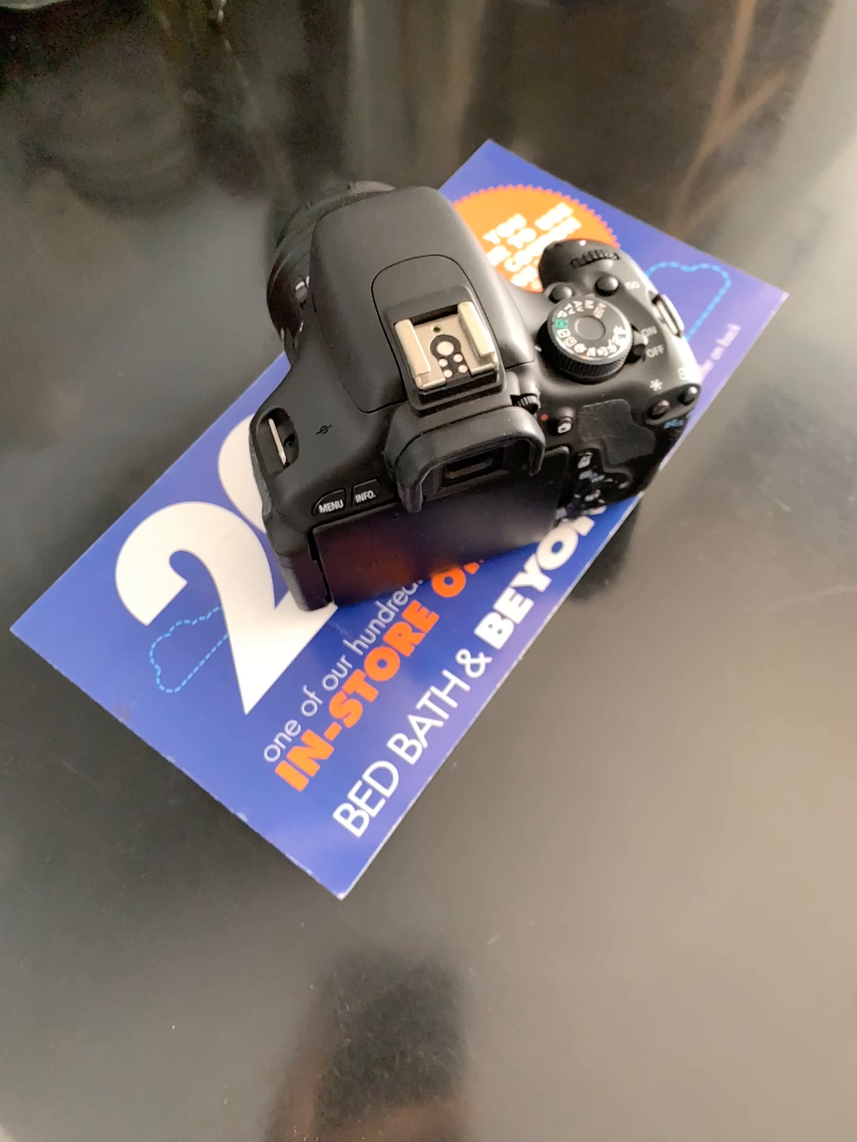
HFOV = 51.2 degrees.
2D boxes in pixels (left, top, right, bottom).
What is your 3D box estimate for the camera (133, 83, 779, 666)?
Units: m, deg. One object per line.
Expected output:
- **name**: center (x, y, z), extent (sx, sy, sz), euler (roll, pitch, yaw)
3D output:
- **camera**: center (0.003, -0.054, 0.262), extent (0.133, 0.089, 0.103), euler (-18, 67, -7)
